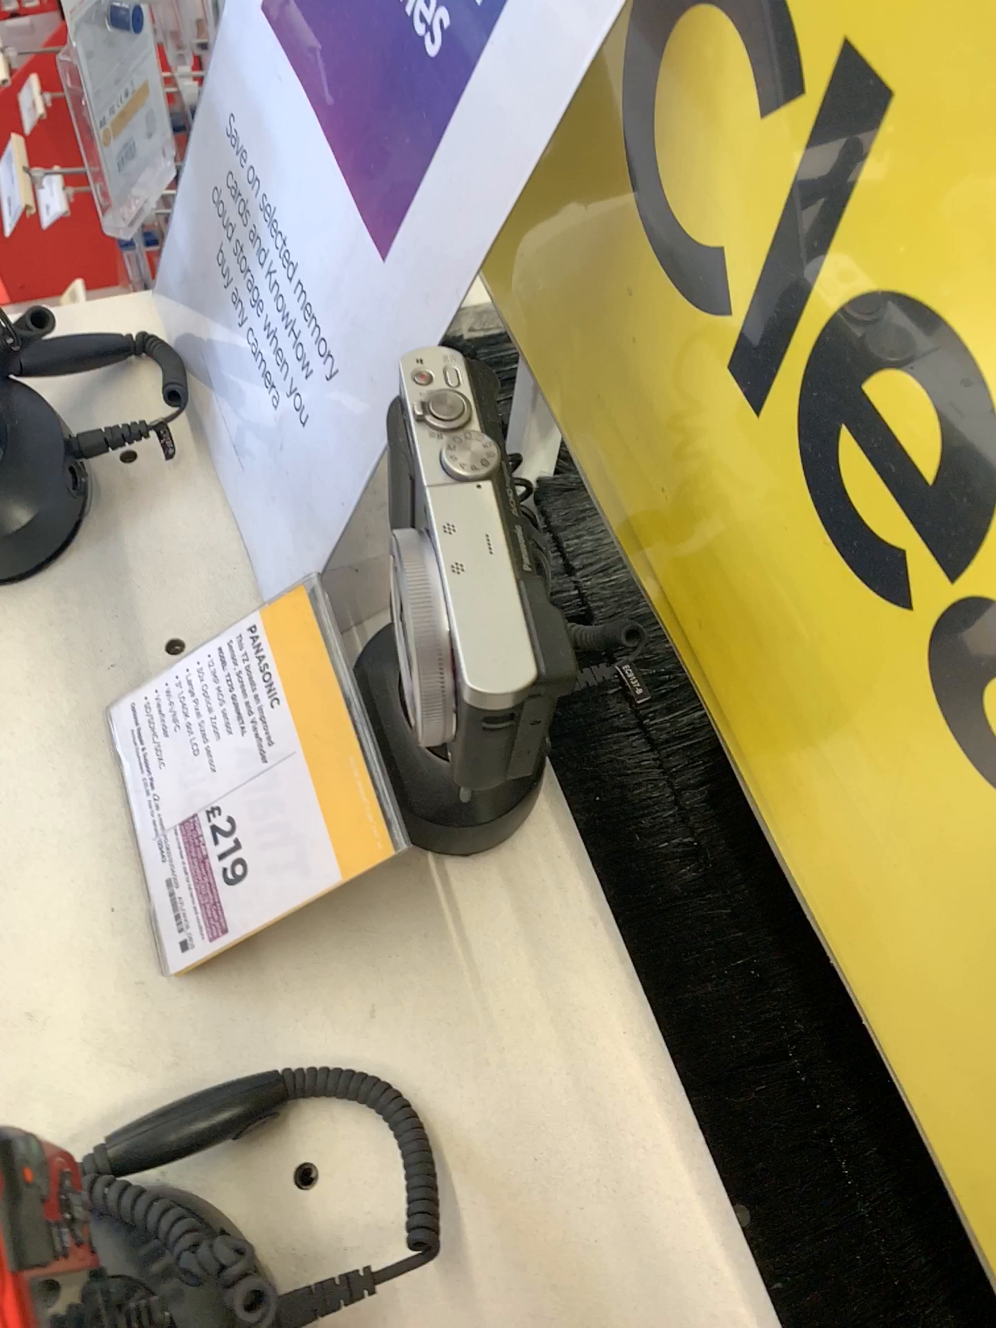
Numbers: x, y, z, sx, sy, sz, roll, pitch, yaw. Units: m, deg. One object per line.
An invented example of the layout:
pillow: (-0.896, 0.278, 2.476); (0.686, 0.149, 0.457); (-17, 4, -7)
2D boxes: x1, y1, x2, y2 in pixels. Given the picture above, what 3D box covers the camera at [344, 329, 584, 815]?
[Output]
camera: (-0.014, -0.025, 0.283); (0.040, 0.070, 0.111); (-8, 62, -9)
